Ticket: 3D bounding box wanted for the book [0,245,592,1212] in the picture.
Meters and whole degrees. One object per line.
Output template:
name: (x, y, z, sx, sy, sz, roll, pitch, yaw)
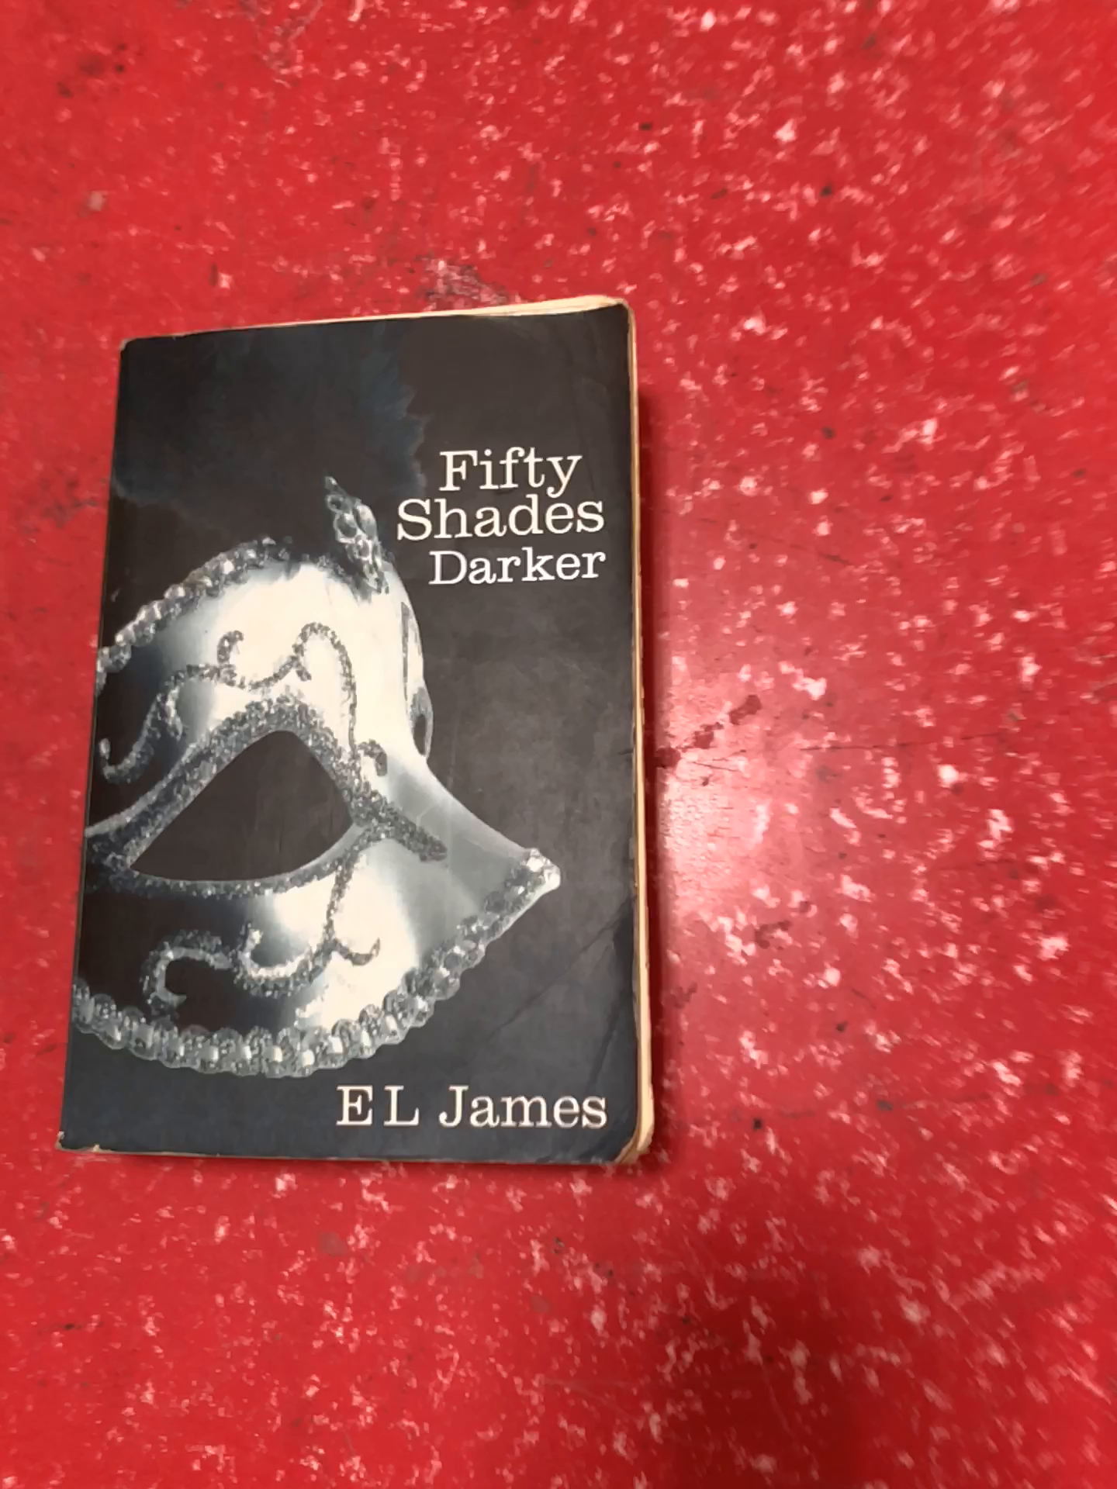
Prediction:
book: (-0.065, -0.004, 0.301, 0.140, 0.050, 0.210, -2, 79, 9)
